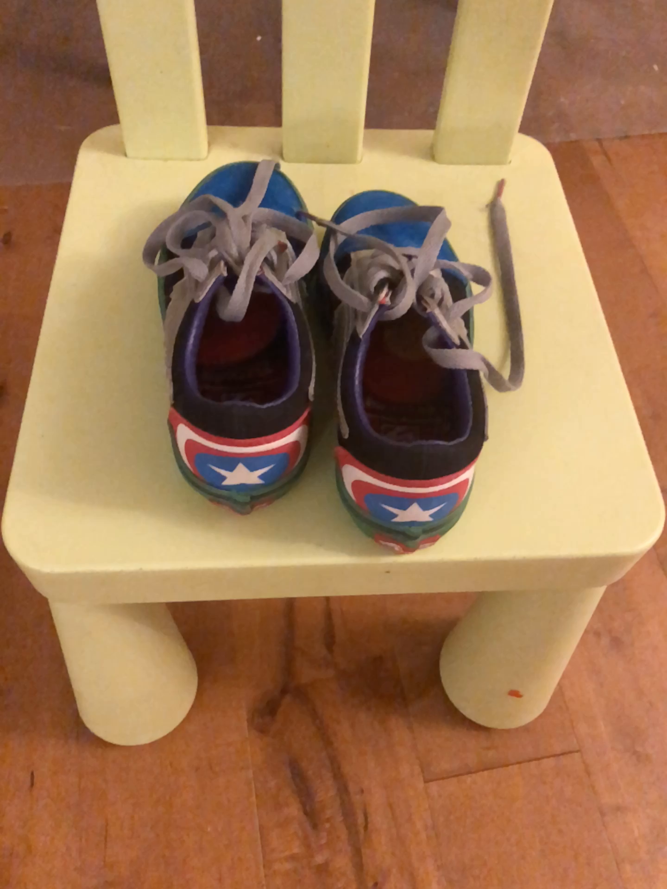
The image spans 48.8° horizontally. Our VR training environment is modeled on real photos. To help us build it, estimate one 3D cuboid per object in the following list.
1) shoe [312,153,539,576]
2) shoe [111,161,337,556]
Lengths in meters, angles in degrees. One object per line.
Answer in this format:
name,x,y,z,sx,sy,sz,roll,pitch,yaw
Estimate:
shoe,0.031,-0.042,0.342,0.080,0.070,0.191,0,60,-3
shoe,-0.047,-0.047,0.377,0.090,0.080,0.191,0,60,-3
